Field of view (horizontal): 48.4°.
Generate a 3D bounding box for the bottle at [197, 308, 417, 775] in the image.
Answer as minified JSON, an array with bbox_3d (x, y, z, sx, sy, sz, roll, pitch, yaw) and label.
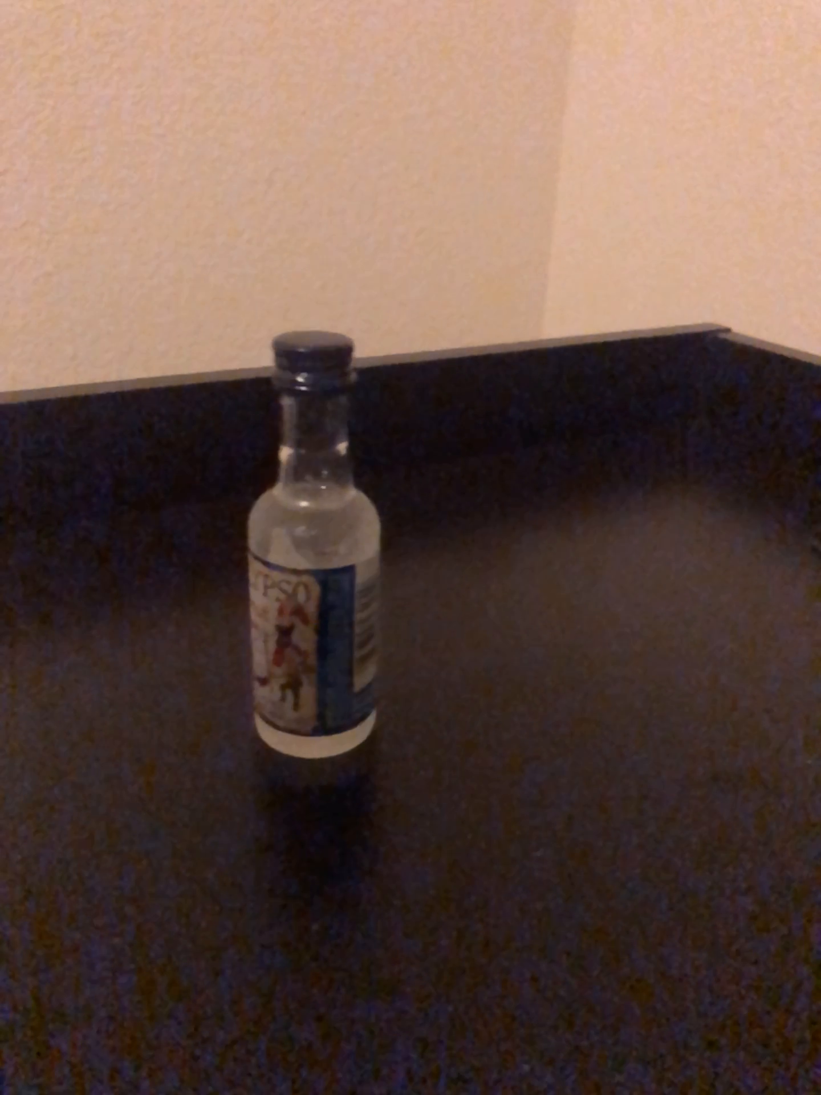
[{"bbox_3d":[-0.026,-0.003,0.227,0.036,0.104,0.040,-12,27,-30],"label":"bottle"}]
